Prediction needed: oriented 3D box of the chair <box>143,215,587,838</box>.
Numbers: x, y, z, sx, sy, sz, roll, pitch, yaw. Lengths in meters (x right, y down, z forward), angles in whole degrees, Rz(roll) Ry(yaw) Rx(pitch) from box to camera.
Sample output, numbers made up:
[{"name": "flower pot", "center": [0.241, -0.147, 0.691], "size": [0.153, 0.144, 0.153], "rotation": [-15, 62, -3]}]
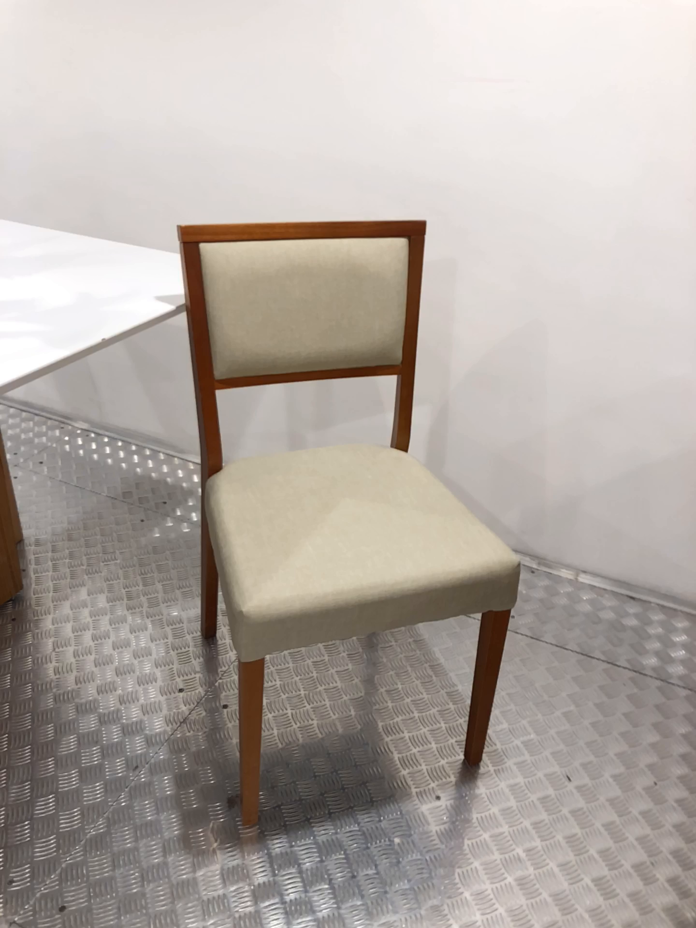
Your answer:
[{"name": "chair", "center": [-0.046, 0.067, 1.431], "size": [0.521, 0.893, 0.624], "rotation": [-7, 31, -19]}]
